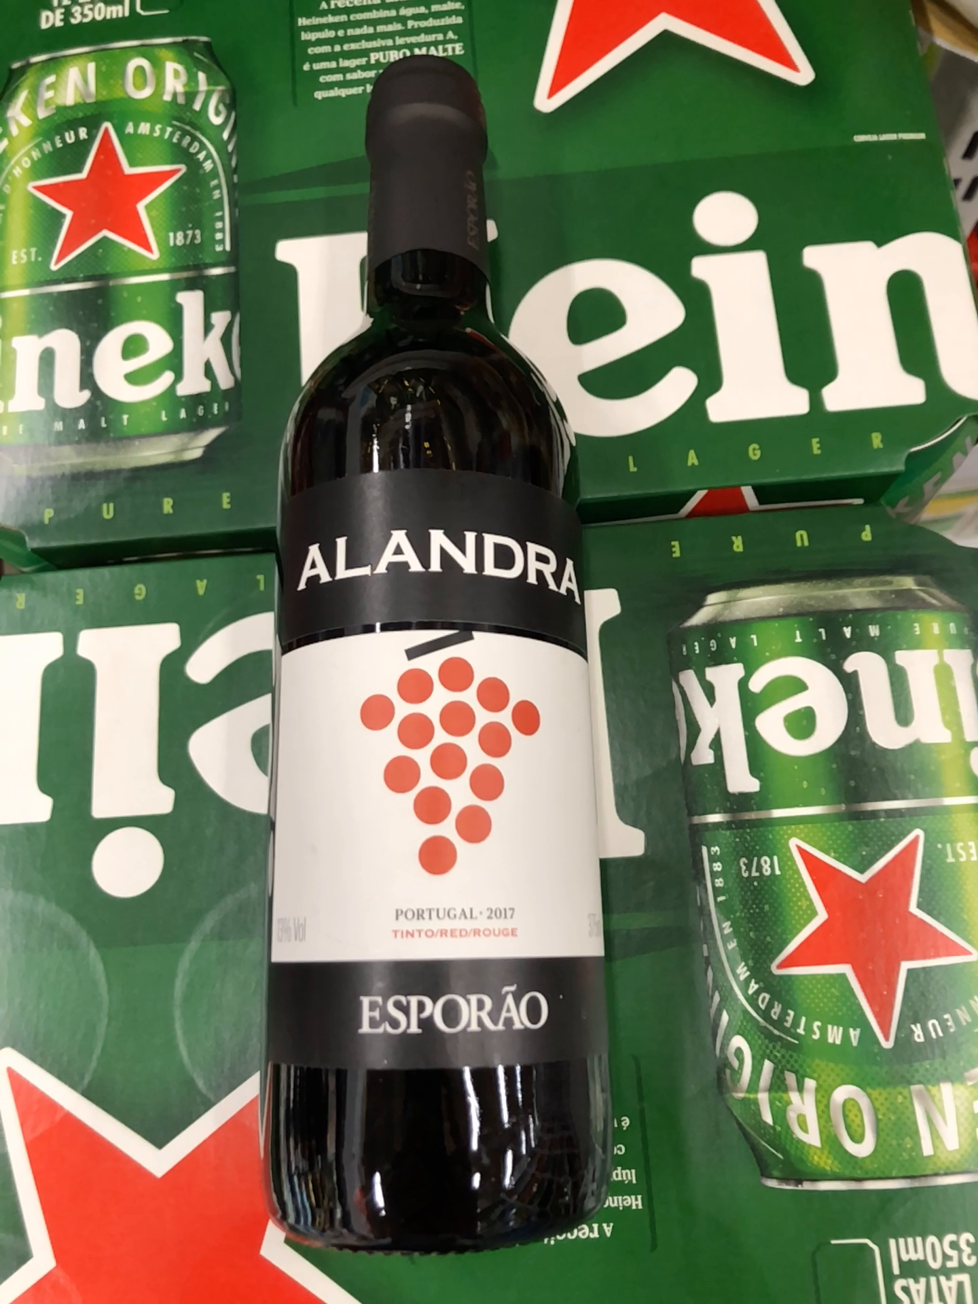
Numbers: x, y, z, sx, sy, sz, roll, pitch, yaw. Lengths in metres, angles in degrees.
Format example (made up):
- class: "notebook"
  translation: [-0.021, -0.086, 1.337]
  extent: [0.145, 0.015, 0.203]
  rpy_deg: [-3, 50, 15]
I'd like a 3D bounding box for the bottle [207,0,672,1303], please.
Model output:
- class: "bottle"
  translation: [-0.014, -0.024, 0.202]
  extent: [0.060, 0.060, 0.240]
  rpy_deg: [0, 74, -9]
